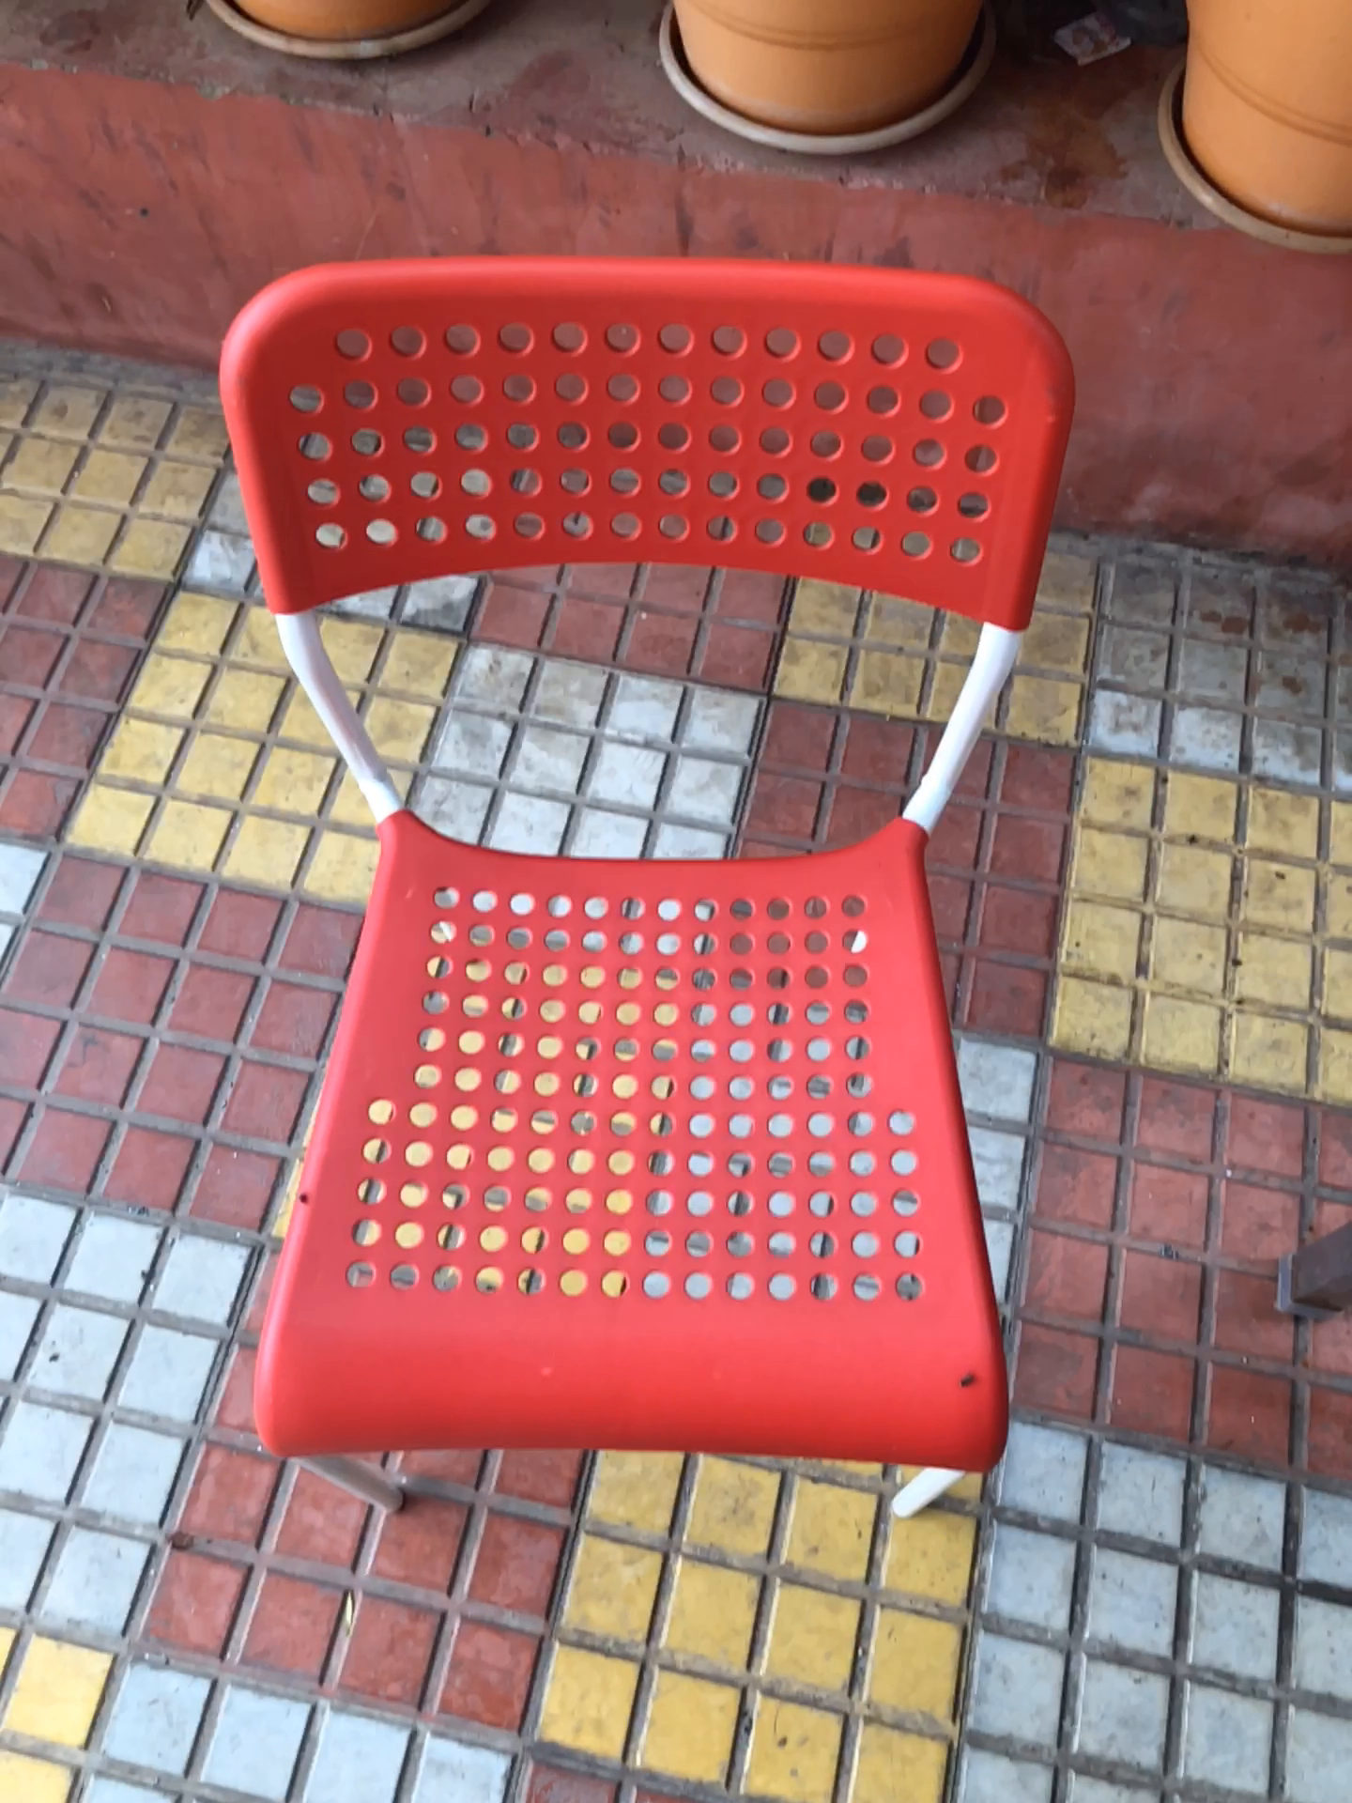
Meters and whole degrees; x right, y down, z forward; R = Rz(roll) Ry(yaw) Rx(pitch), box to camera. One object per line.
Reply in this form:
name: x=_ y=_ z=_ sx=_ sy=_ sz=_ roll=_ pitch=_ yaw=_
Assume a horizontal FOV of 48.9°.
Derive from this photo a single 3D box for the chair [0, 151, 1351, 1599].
chair: x=-0.040 y=0.080 z=0.831 sx=0.450 sy=0.698 sz=0.542 roll=1 pitch=66 yaw=0
